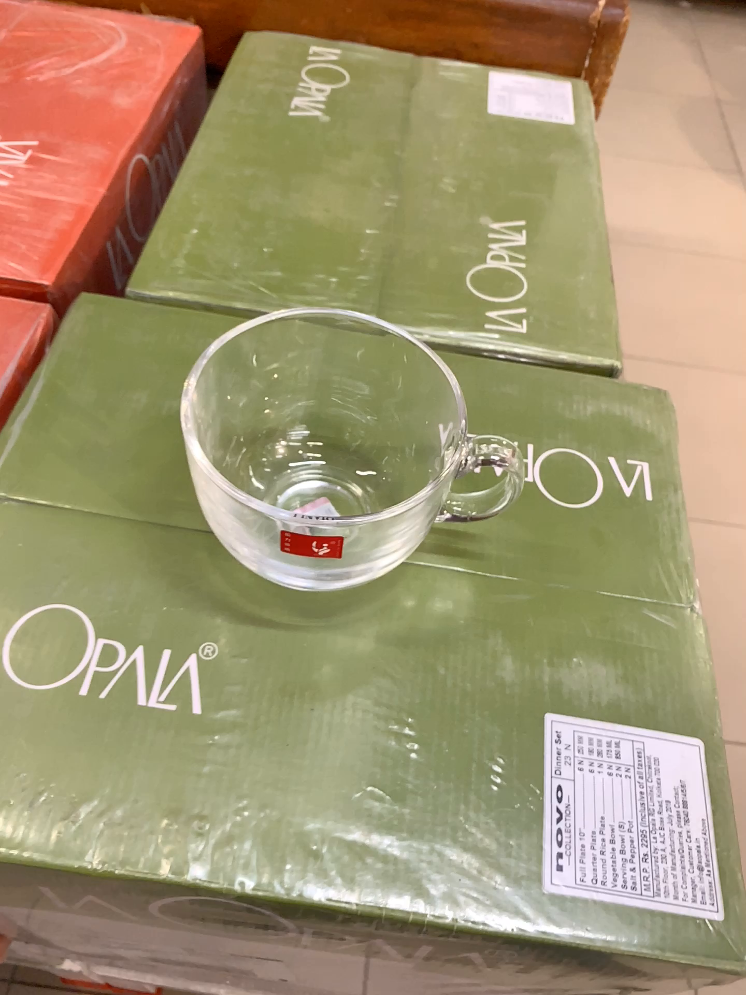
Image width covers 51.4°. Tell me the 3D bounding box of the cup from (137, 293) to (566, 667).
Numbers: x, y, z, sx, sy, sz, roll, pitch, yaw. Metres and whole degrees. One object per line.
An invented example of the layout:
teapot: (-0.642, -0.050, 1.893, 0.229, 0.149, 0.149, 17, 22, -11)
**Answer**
cup: (-0.008, -0.006, 0.321, 0.140, 0.090, 0.110, 5, 53, -3)
